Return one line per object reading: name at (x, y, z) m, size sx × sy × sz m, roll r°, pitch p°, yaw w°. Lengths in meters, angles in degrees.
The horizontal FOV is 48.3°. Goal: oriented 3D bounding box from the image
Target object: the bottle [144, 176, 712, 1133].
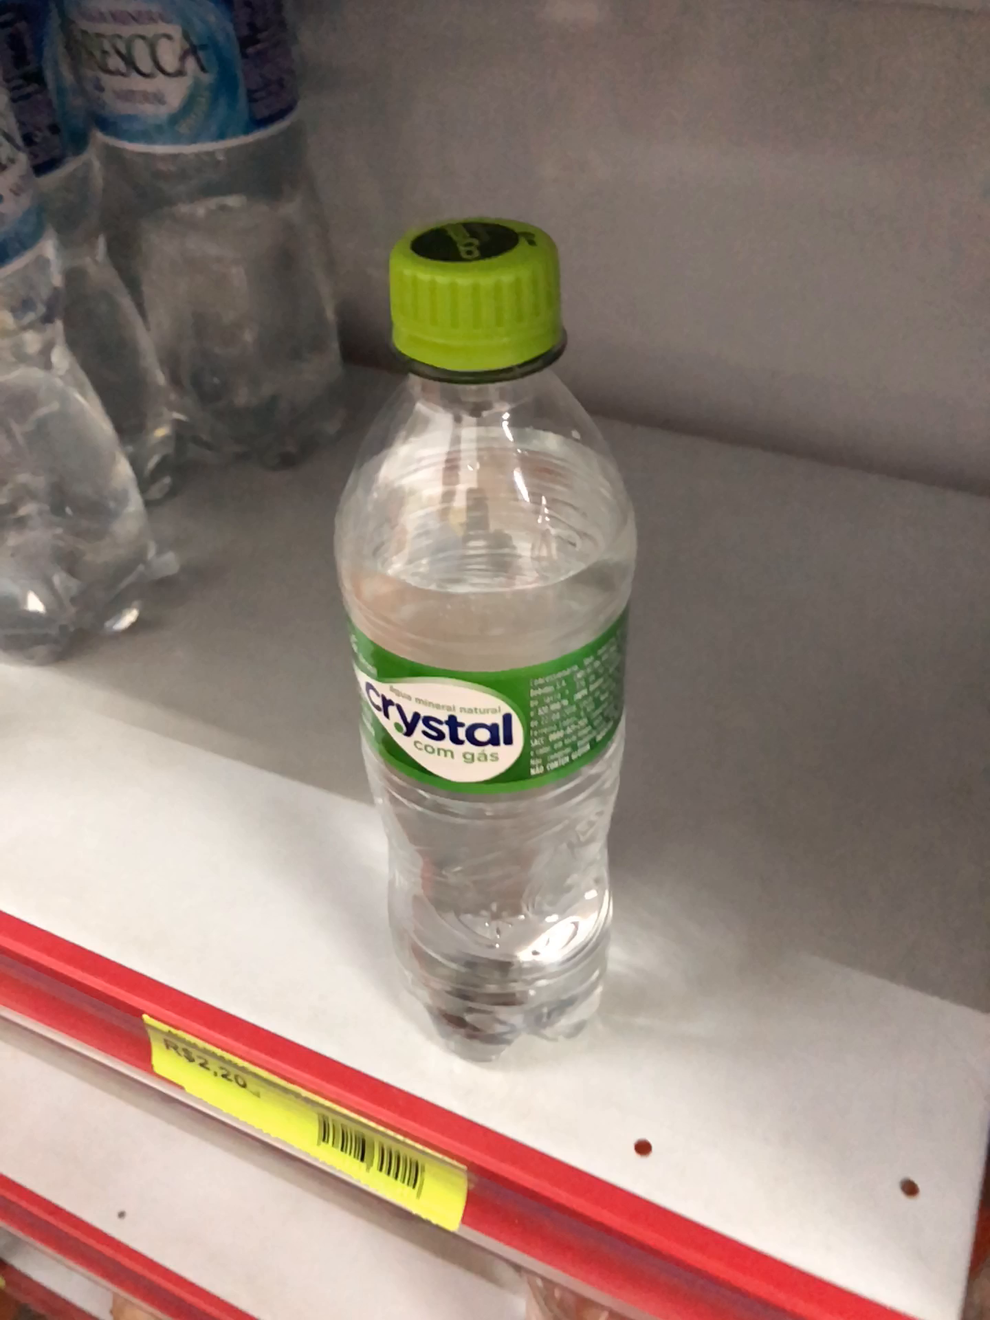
bottle at (-0.006, 0.017, 0.252) m, size 0.070 × 0.218 × 0.060 m, roll 19°, pitch 47°, yaw 21°
